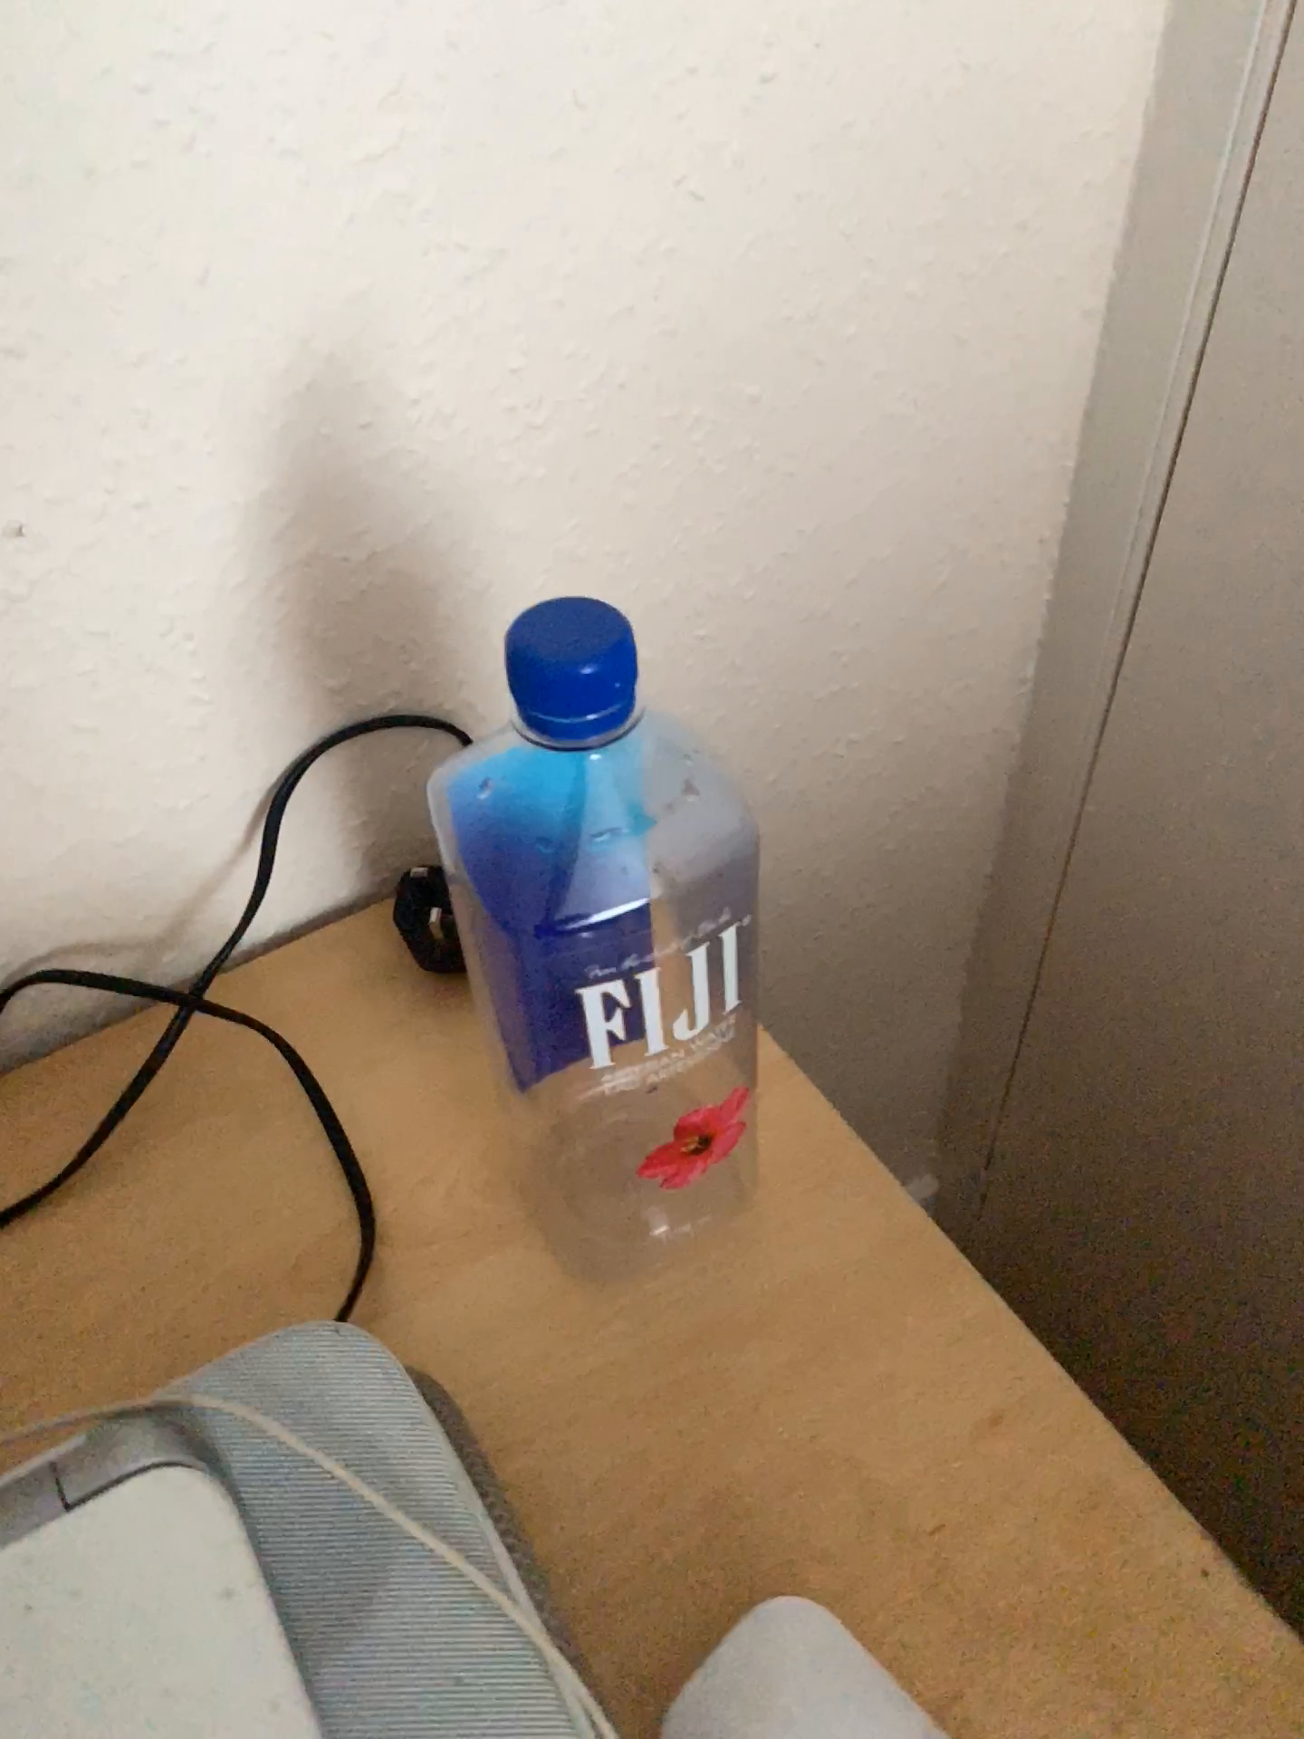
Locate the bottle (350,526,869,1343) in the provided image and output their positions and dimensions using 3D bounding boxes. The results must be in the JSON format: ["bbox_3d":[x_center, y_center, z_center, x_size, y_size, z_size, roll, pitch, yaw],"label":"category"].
[{"bbox_3d":[-0.008,0.027,0.373,0.090,0.208,0.081,-23,47,-21],"label":"bottle"}]
